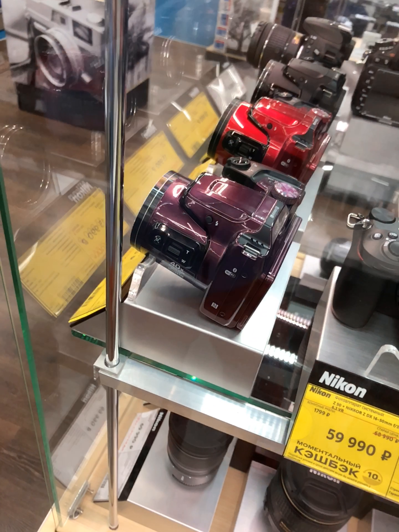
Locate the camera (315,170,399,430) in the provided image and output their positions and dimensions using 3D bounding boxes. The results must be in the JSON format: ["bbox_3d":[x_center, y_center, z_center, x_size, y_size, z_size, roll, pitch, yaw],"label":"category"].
[{"bbox_3d":[0.163,0.015,0.289,0.133,0.084,0.101,21,42,12],"label":"camera"}]

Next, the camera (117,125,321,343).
[{"bbox_3d":[0.014,-0.029,0.312,0.100,0.080,0.110,21,42,12],"label":"camera"}]
